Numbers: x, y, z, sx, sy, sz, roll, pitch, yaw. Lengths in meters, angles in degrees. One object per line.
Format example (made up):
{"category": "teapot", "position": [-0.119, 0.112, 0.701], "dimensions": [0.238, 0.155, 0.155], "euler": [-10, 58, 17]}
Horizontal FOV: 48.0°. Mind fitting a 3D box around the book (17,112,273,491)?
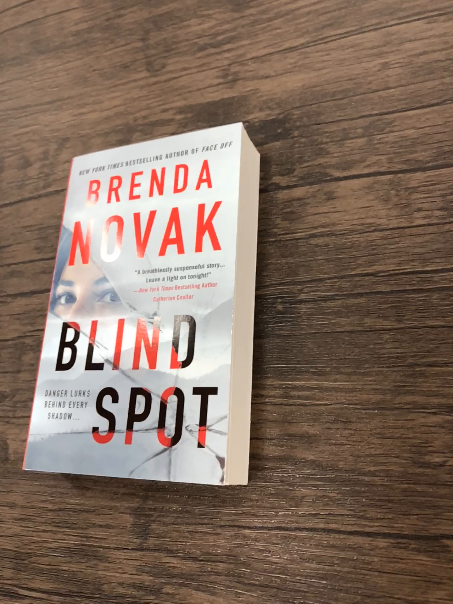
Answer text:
{"category": "book", "position": [-0.036, -0.001, 0.260], "dimensions": [0.109, 0.039, 0.175], "euler": [-3, 72, 20]}
